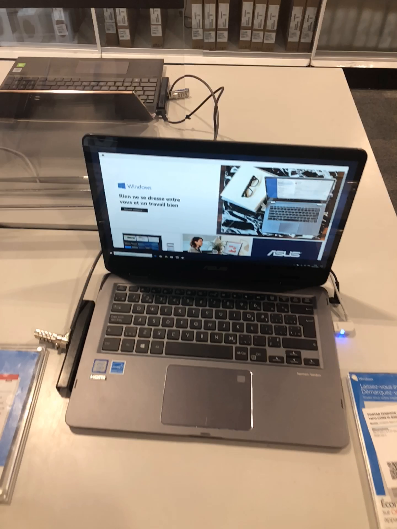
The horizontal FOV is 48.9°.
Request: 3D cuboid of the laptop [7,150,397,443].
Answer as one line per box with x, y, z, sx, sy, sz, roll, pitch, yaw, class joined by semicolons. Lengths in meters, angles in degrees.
0.015;0.033;0.473;0.302;0.217;0.225;3;48;3;laptop
